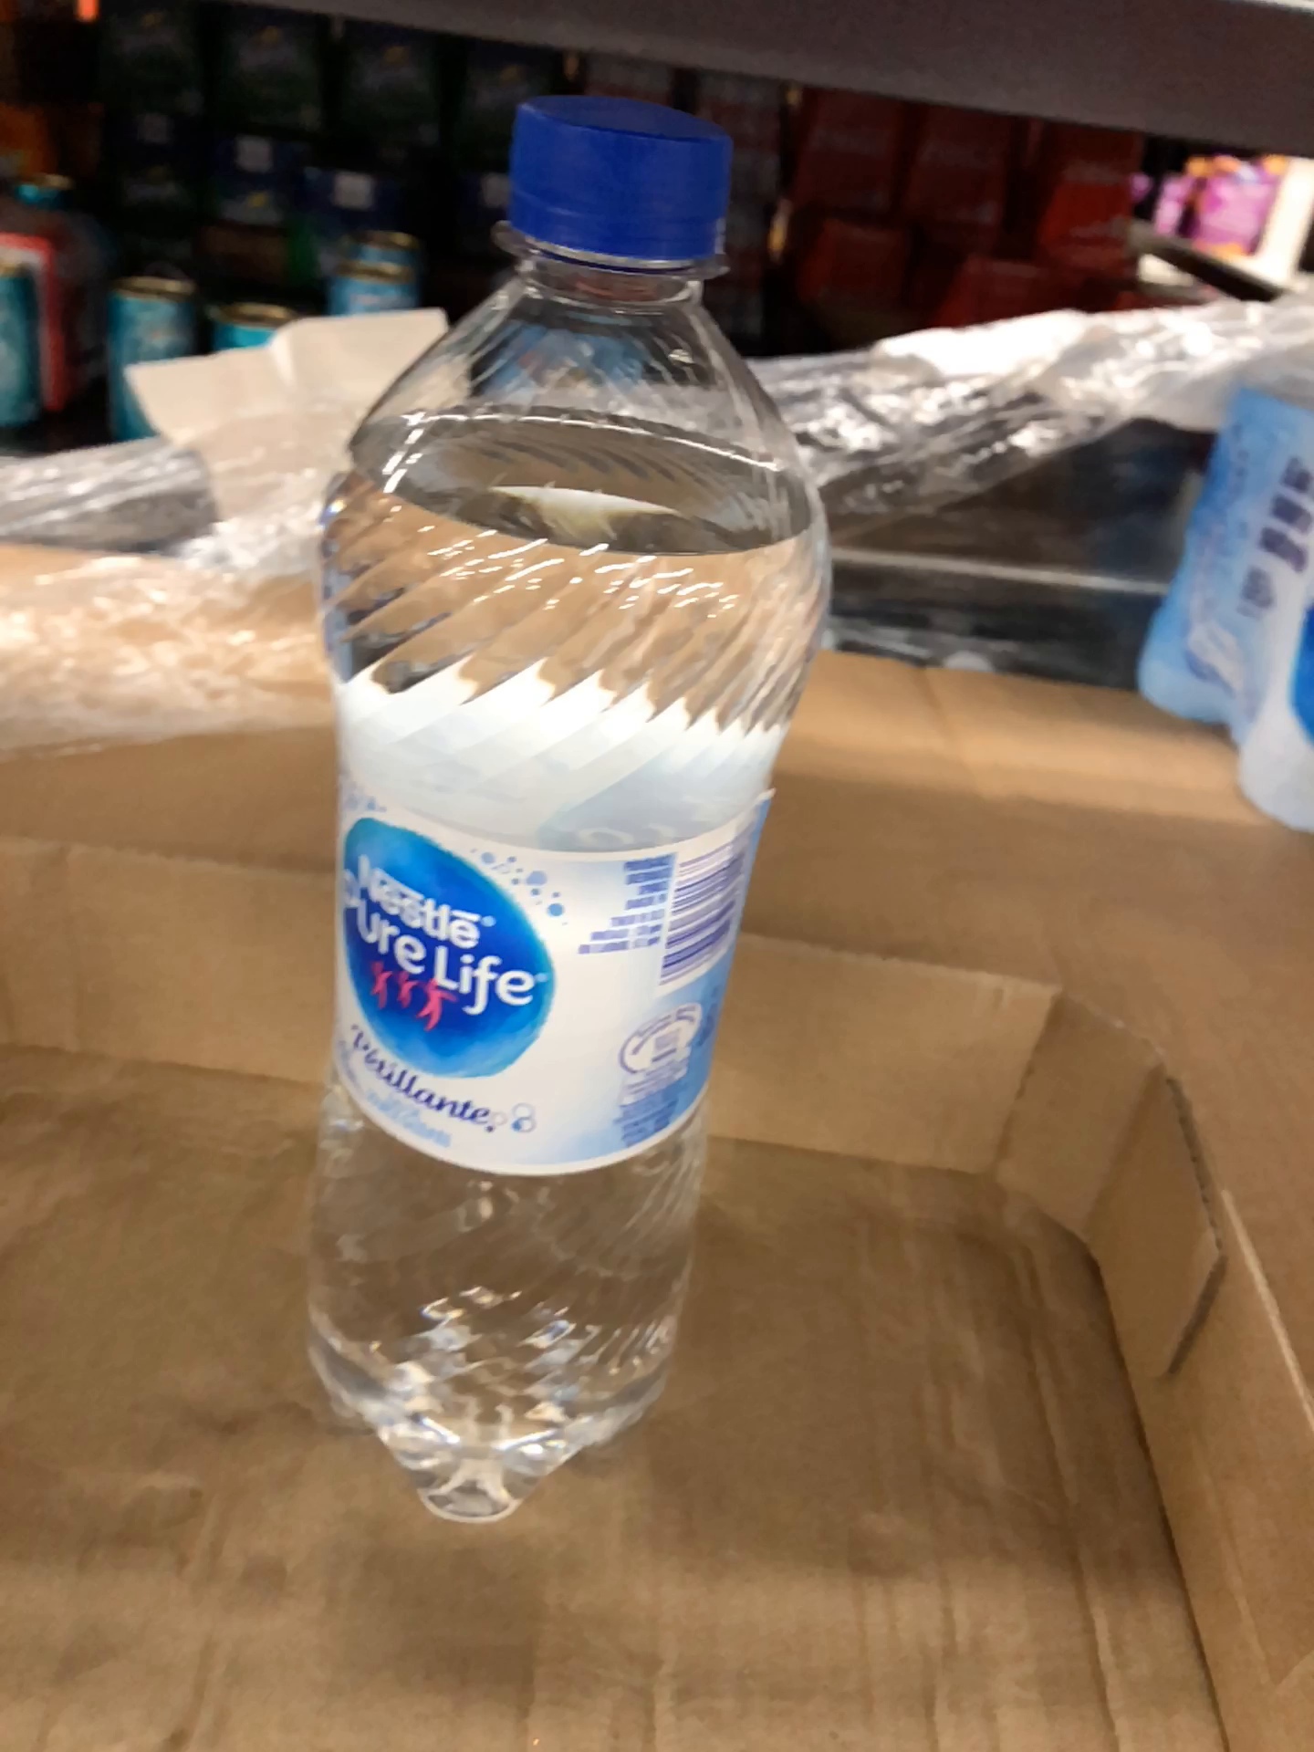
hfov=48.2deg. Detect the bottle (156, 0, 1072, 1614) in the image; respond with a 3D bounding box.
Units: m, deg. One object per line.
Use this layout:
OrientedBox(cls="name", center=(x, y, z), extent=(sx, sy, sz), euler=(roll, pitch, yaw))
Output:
OrientedBox(cls="bottle", center=(-0.021, -0.003, 0.293), extent=(0.100, 0.278, 0.101), euler=(7, 30, -4))
